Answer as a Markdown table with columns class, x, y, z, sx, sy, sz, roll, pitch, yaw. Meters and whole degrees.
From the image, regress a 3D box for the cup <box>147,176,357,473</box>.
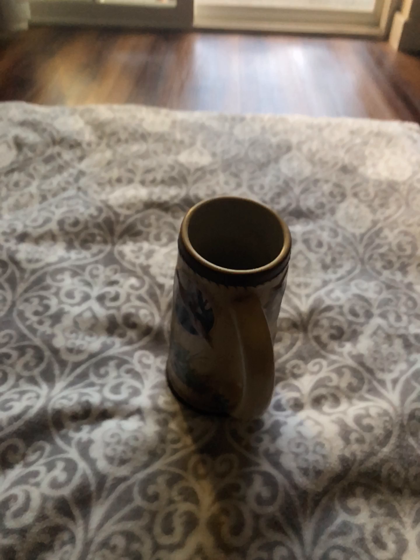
| class | x | y | z | sx | sy | sz | roll | pitch | yaw |
| --- | --- | --- | --- | --- | --- | --- | --- | --- | --- |
| cup | 0.015 | 0.042 | 0.384 | 0.099 | 0.188 | 0.145 | -10 | 52 | -13 |
